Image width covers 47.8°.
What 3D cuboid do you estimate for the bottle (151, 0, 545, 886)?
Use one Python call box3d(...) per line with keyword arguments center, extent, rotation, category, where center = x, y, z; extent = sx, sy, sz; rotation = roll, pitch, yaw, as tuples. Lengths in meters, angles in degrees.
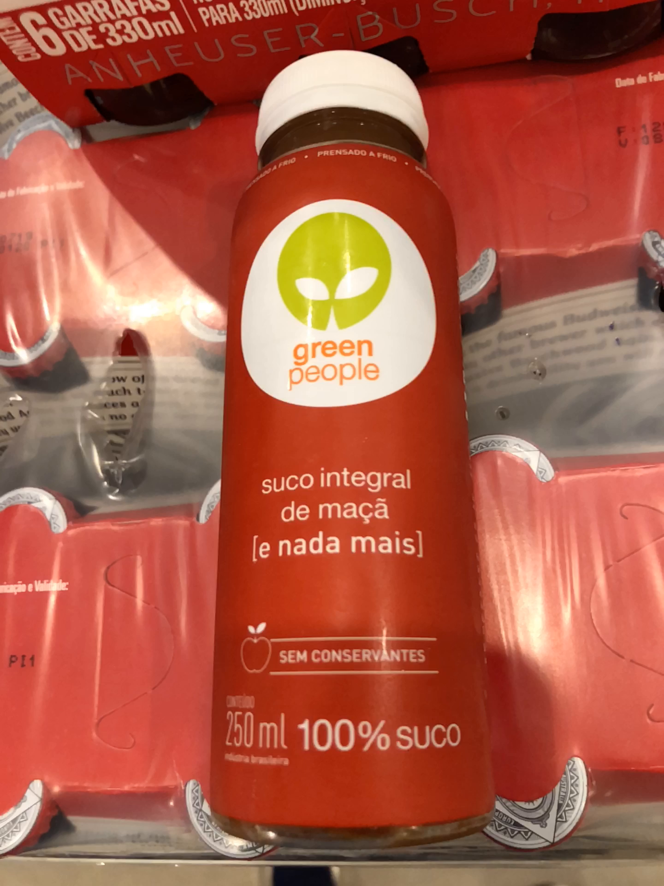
box3d(center=(0.006, -0.015, 0.155), extent=(0.060, 0.040, 0.180), rotation=(-3, 74, 12), category="bottle")
